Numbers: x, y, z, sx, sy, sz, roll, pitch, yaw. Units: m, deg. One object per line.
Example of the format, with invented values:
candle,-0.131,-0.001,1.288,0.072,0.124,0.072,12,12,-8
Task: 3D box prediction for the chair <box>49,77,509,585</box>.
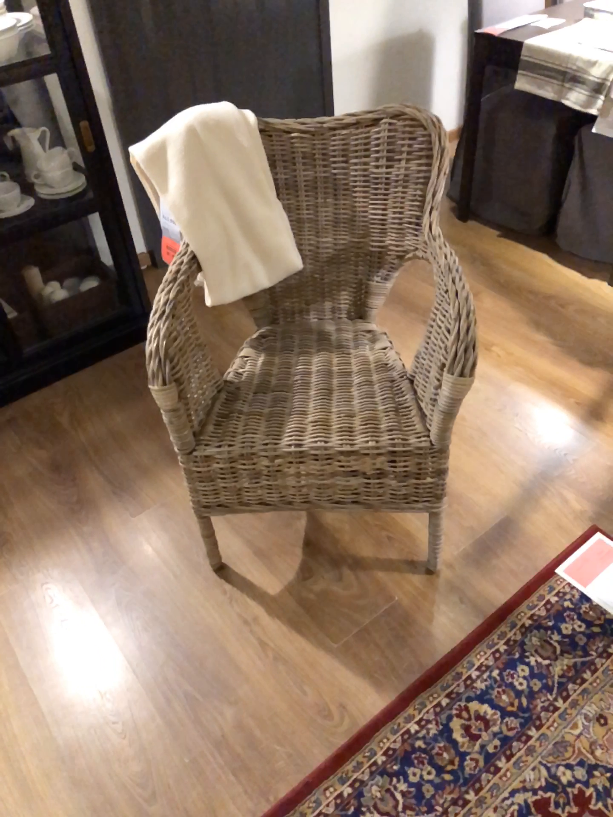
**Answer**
chair,-0.005,-0.143,1.405,0.620,0.814,0.634,-2,41,4
